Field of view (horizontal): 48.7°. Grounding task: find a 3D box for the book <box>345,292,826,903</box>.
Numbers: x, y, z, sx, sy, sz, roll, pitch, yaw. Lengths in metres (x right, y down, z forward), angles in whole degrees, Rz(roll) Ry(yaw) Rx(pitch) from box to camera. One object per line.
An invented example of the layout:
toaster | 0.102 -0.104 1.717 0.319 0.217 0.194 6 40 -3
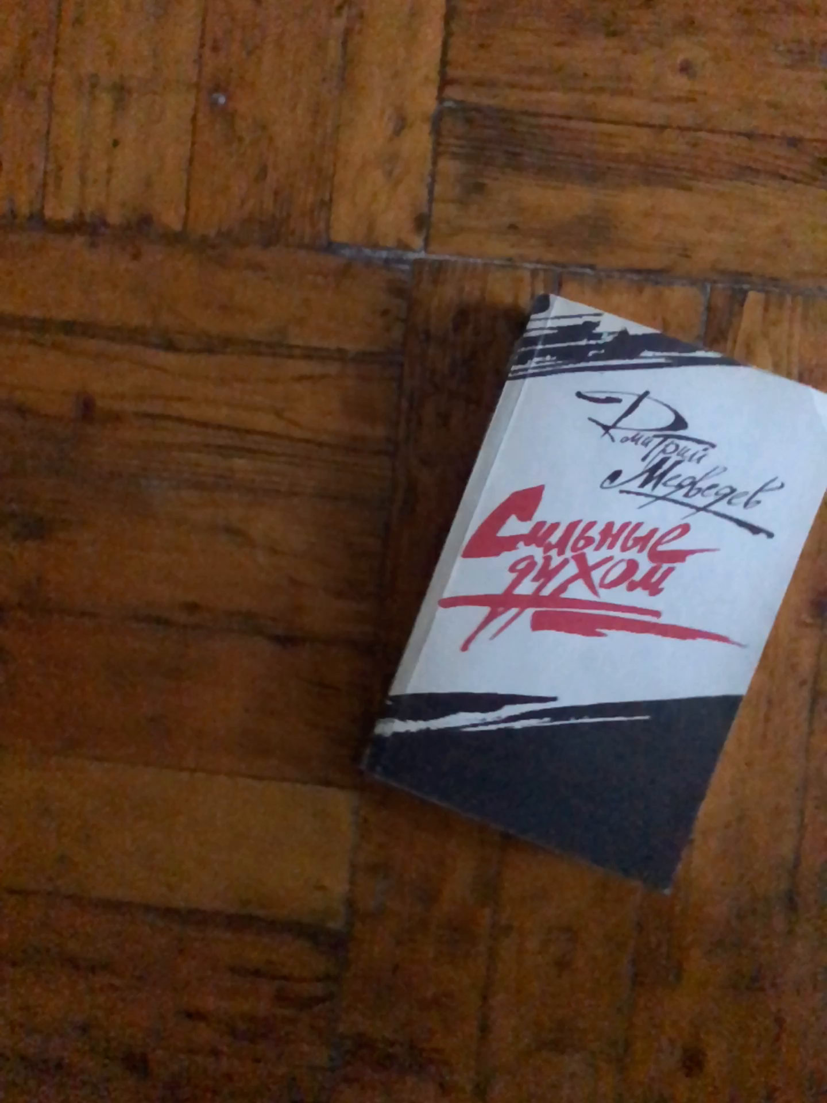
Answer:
book | 0.075 0.018 0.391 0.140 0.050 0.210 20 92 1
